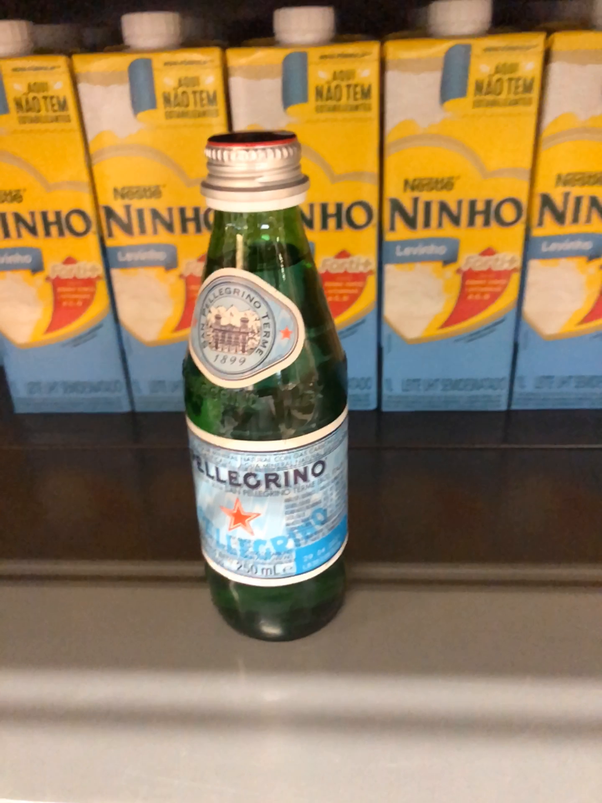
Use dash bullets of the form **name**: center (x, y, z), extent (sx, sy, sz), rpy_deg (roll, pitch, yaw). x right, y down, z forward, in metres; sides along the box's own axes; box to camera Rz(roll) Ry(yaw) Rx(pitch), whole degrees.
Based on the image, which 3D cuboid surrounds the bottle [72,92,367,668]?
- **bottle**: center (-0.015, -0.003, 0.227), extent (0.060, 0.179, 0.060), rpy_deg (-2, 30, 1)
